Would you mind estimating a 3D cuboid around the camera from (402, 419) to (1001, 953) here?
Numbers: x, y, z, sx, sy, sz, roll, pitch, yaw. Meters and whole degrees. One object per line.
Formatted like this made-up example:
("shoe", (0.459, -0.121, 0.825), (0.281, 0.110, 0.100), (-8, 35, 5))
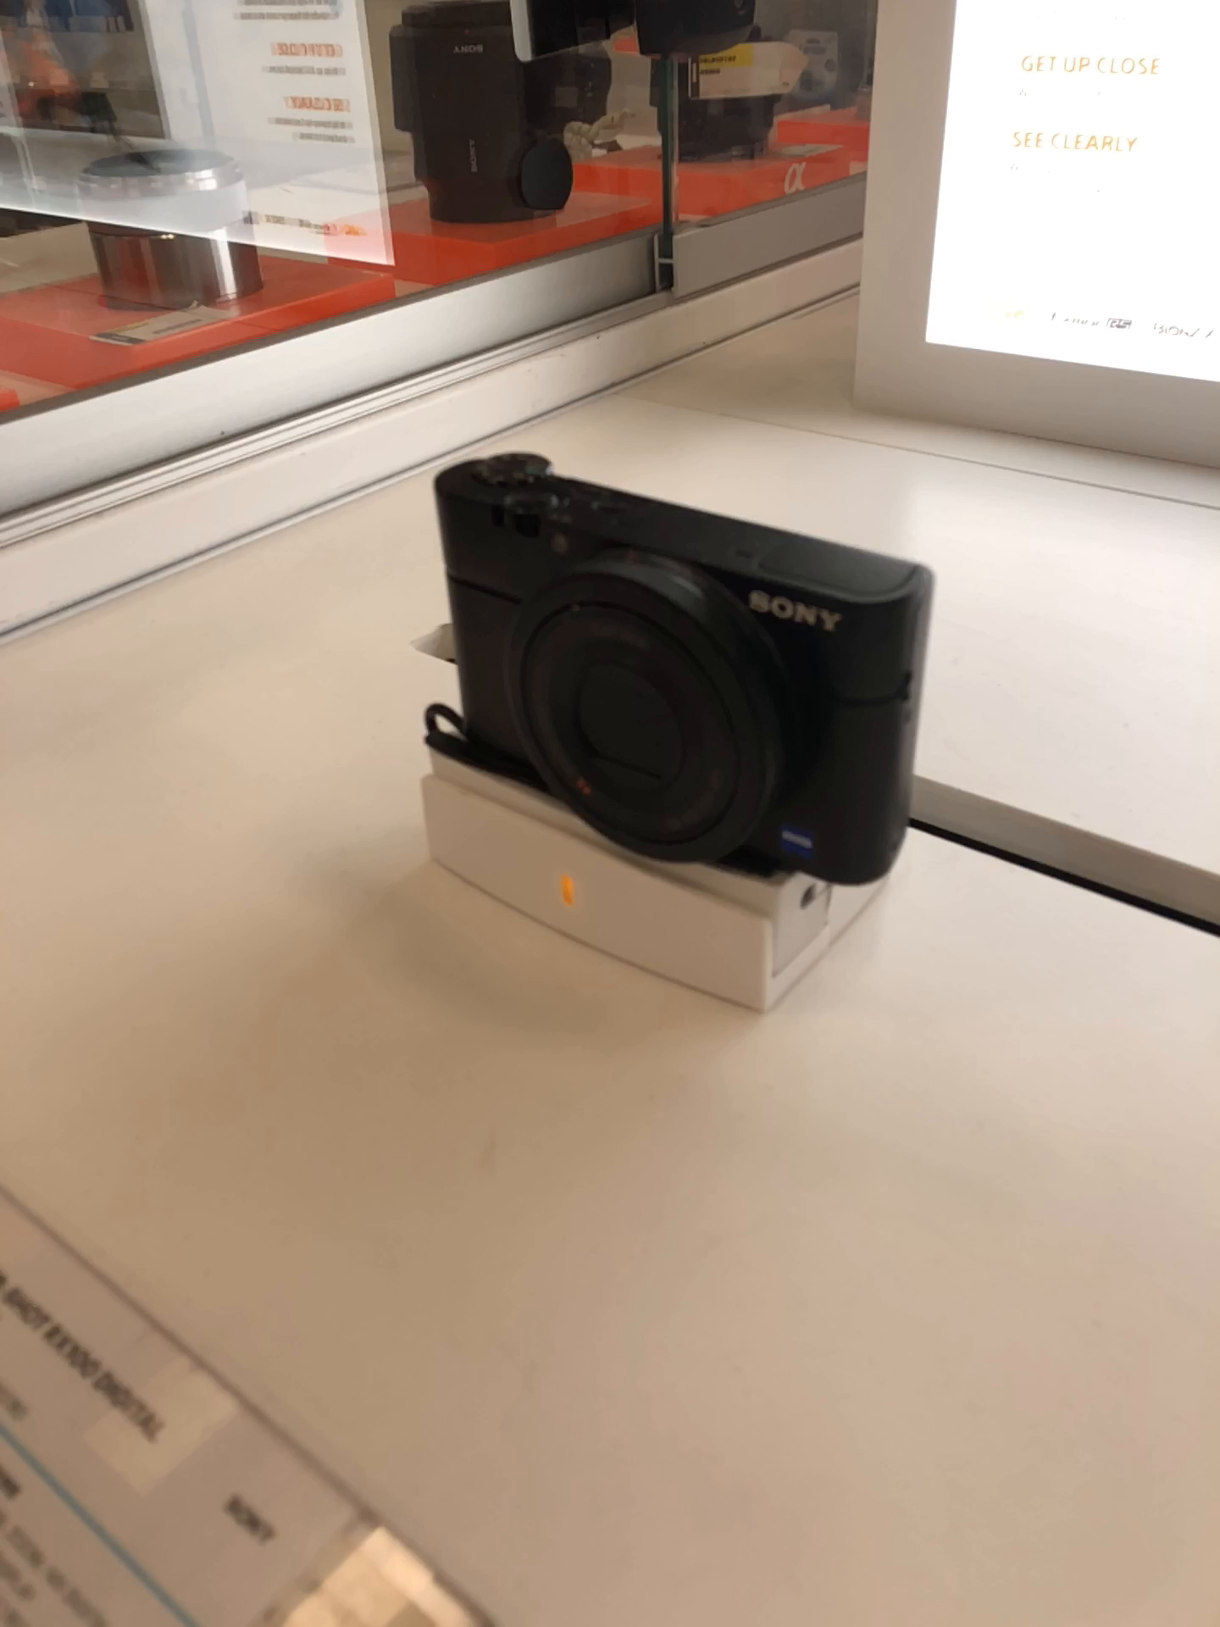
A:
("camera", (0.013, -0.029, 0.259), (0.110, 0.070, 0.030), (22, 40, 33))
